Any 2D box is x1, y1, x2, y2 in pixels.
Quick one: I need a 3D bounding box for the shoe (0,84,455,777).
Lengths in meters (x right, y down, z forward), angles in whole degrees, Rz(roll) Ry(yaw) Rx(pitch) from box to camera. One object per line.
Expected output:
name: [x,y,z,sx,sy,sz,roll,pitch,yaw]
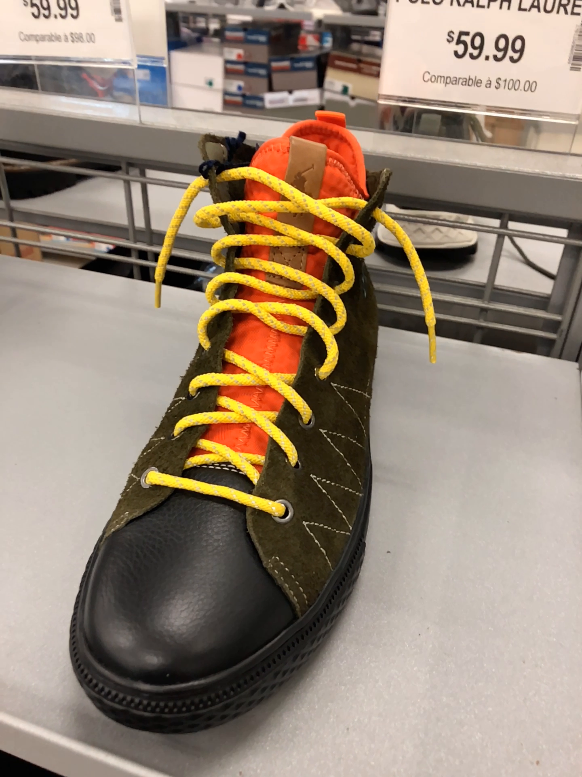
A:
shoe: [-0.007,-0.024,0.309,0.125,0.171,0.300,10,35,10]
